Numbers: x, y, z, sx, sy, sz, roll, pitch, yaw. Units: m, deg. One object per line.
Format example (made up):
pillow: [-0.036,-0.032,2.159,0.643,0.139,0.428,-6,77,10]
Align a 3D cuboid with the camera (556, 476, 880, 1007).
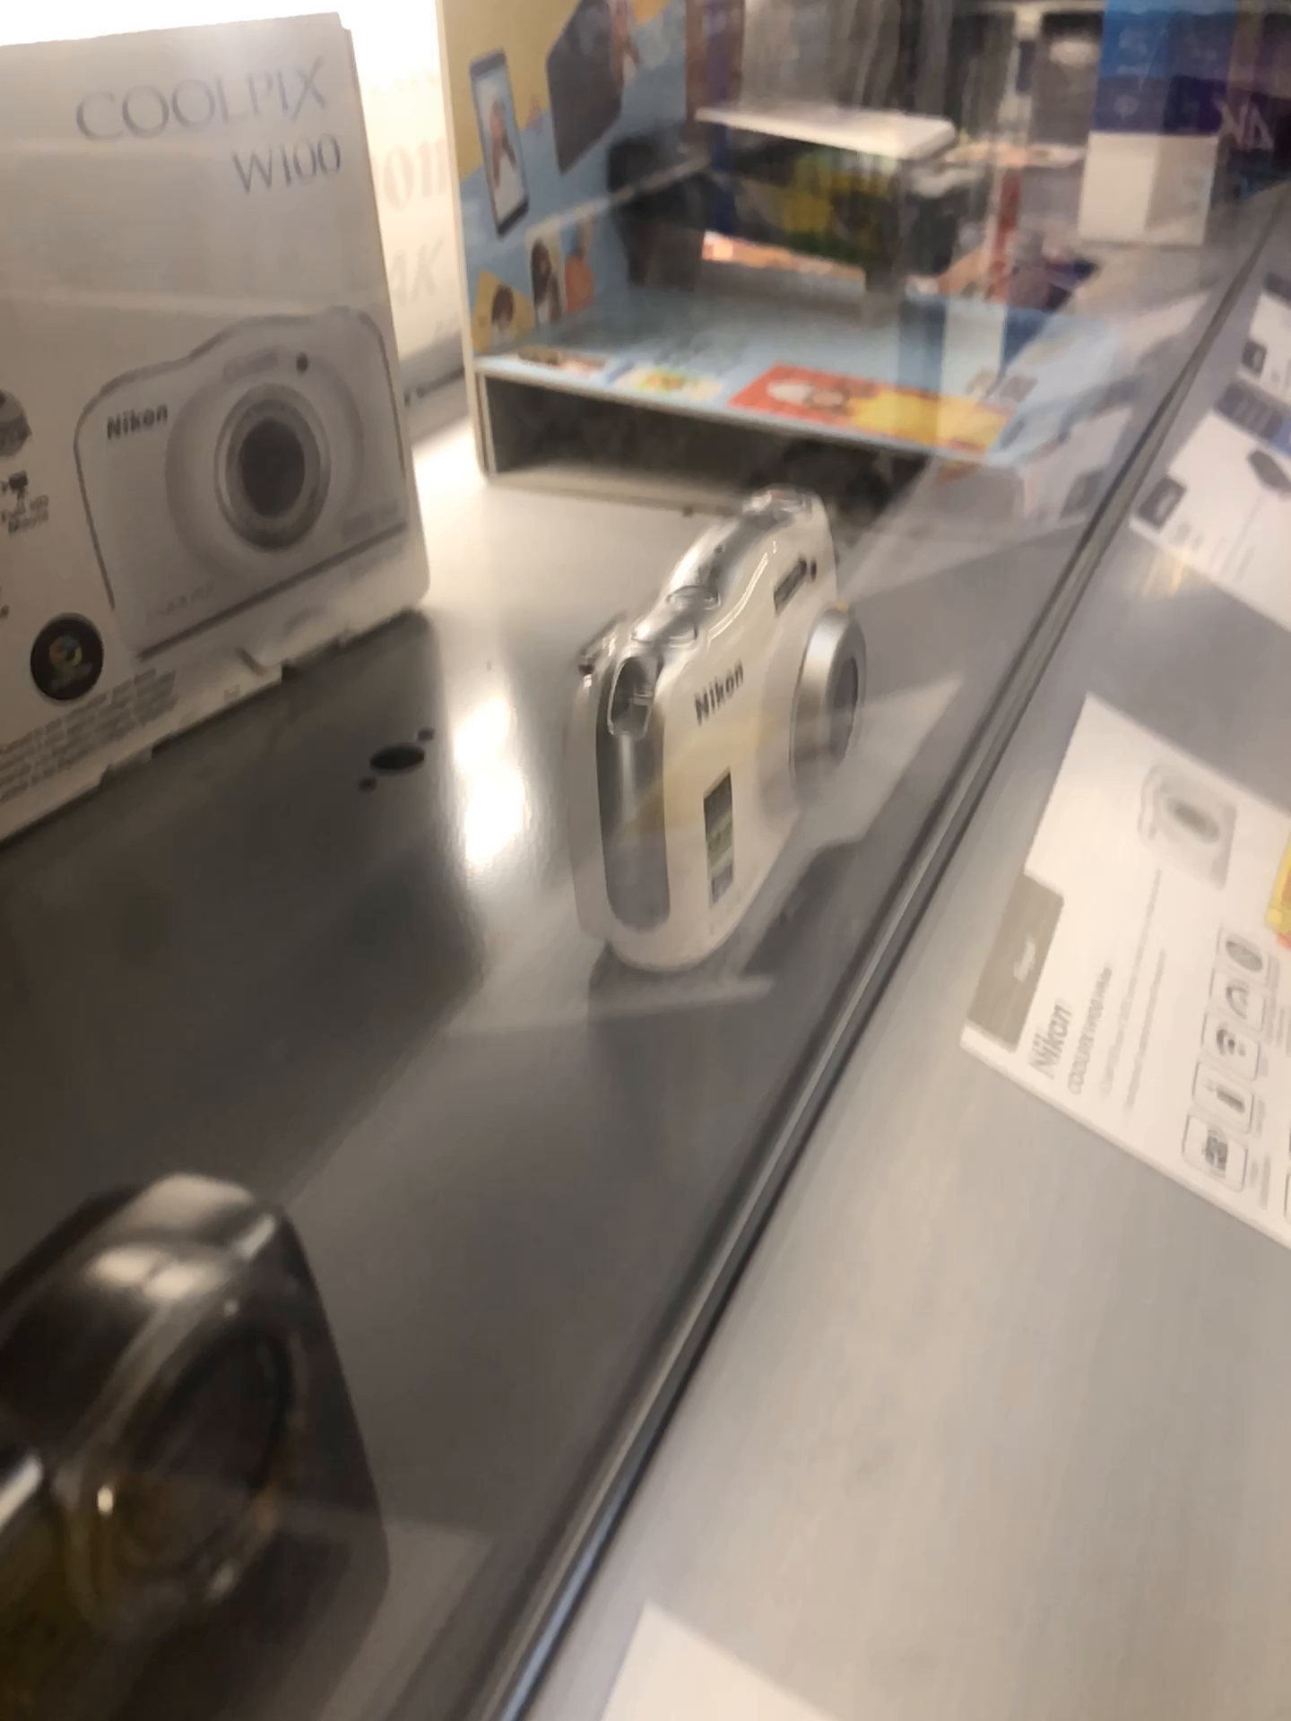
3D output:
camera: [0.020,-0.030,0.292,0.030,0.060,0.111,9,35,18]
